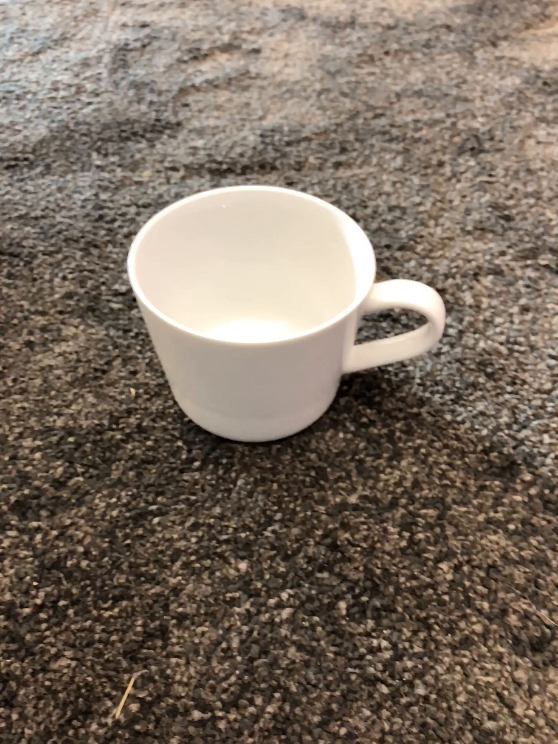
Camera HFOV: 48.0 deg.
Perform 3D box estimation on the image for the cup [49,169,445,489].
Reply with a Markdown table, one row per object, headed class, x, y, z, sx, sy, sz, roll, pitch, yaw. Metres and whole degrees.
| class | x | y | z | sx | sy | sz | roll | pitch | yaw |
| --- | --- | --- | --- | --- | --- | --- | --- | --- | --- |
| cup | -0.005 | -0.022 | 0.279 | 0.140 | 0.080 | 0.100 | 7 | 49 | 7 |
